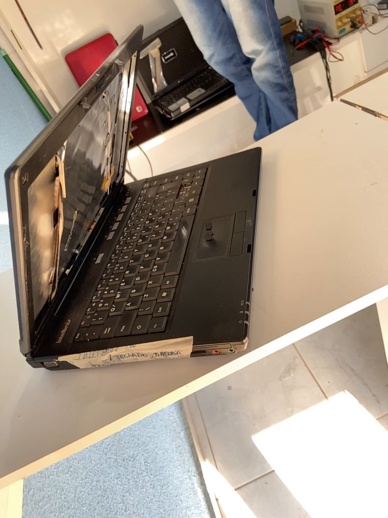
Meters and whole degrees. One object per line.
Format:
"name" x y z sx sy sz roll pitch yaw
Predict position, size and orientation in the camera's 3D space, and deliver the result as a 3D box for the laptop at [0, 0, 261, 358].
"laptop" -0.074 -0.093 0.431 0.231 0.191 0.324 -11 39 22
